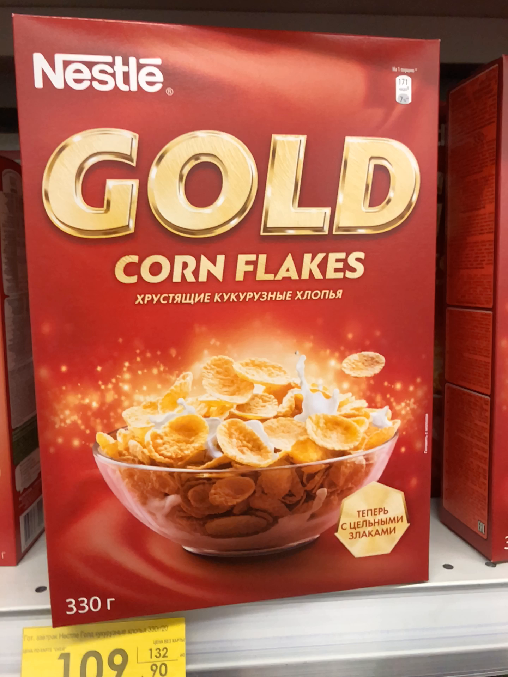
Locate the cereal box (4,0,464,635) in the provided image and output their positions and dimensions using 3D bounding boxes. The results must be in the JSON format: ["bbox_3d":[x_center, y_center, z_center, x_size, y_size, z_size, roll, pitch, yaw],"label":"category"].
[{"bbox_3d":[-0.005,-0.008,0.292,0.200,0.279,0.060,-2,8,-10],"label":"cereal box"}]
